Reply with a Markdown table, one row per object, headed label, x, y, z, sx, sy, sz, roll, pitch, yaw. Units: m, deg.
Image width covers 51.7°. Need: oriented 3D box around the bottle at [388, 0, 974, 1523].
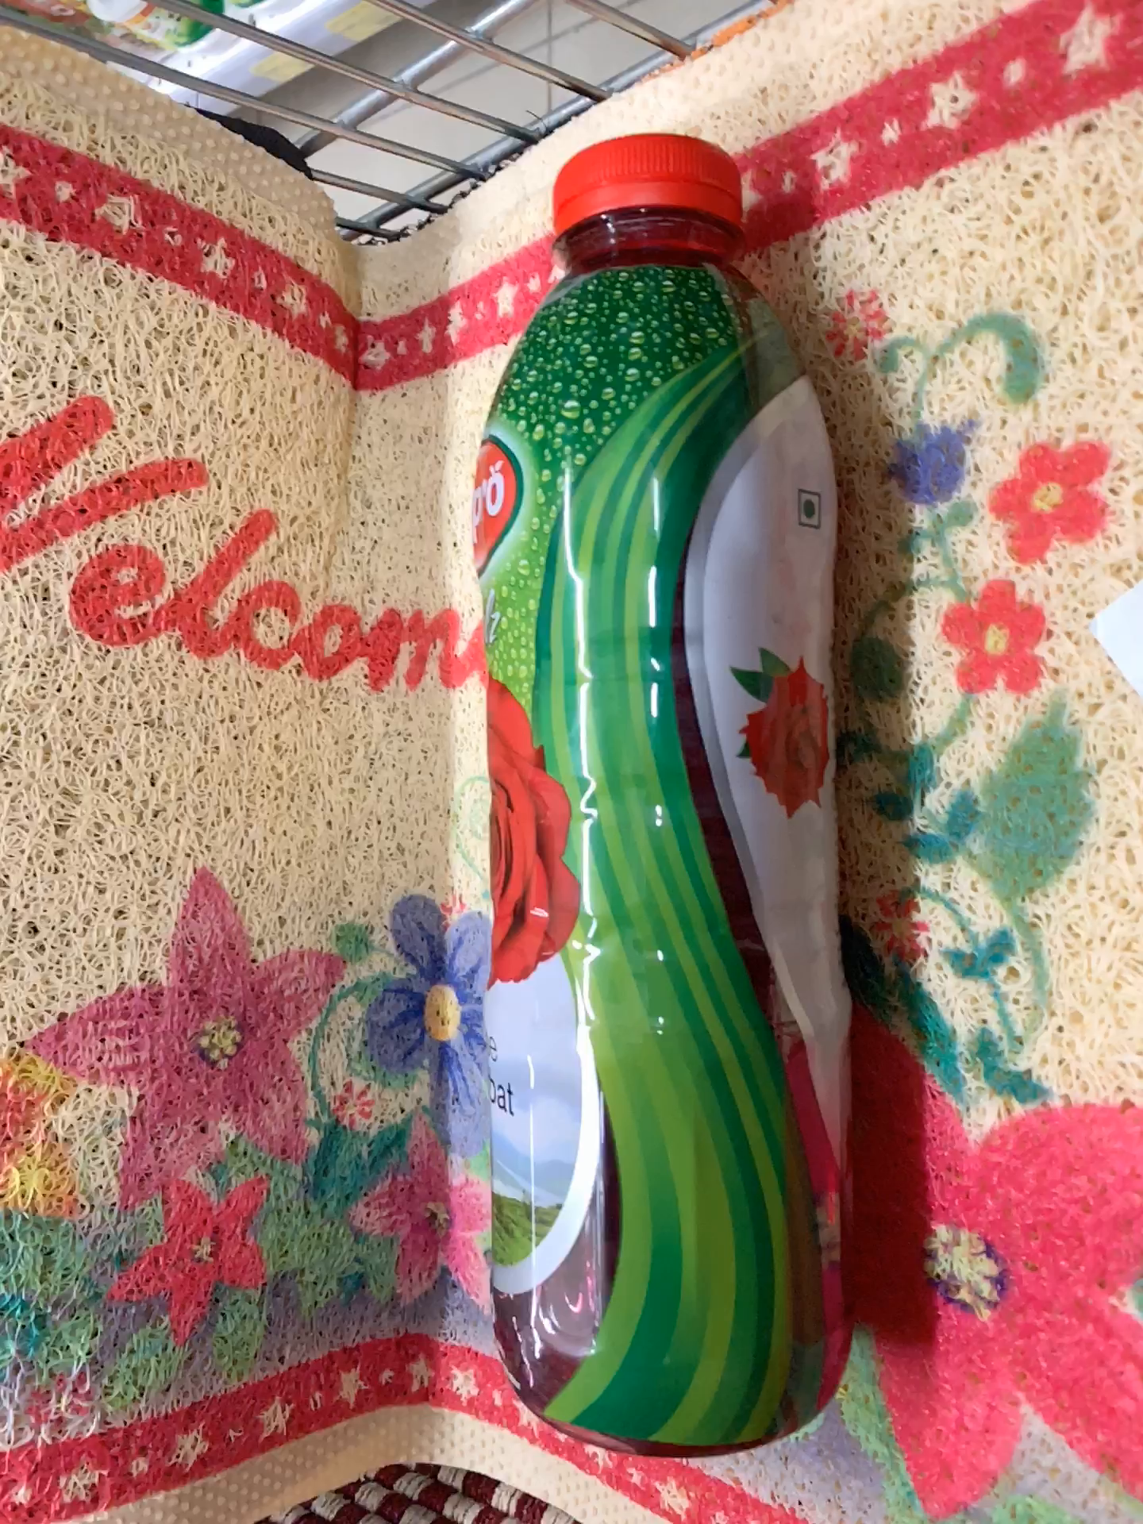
| label | x | y | z | sx | sy | sz | roll | pitch | yaw |
| --- | --- | --- | --- | --- | --- | --- | --- | --- | --- |
| bottle | 0.016 | -0.006 | 0.229 | 0.080 | 0.080 | 0.250 | -174 | 81 | -74 |
